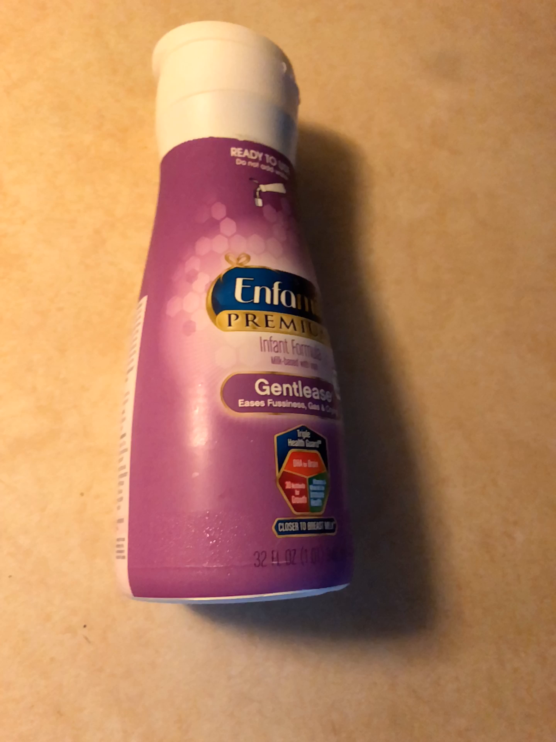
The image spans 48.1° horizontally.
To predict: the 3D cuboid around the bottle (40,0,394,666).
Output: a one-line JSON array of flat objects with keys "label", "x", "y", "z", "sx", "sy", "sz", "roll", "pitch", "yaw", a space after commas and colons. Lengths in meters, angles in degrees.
[{"label": "bottle", "x": -0.032, "y": -0.045, "z": 0.256, "sx": 0.090, "sy": 0.100, "sz": 0.280, "roll": 7, "pitch": 73, "yaw": -33}]
